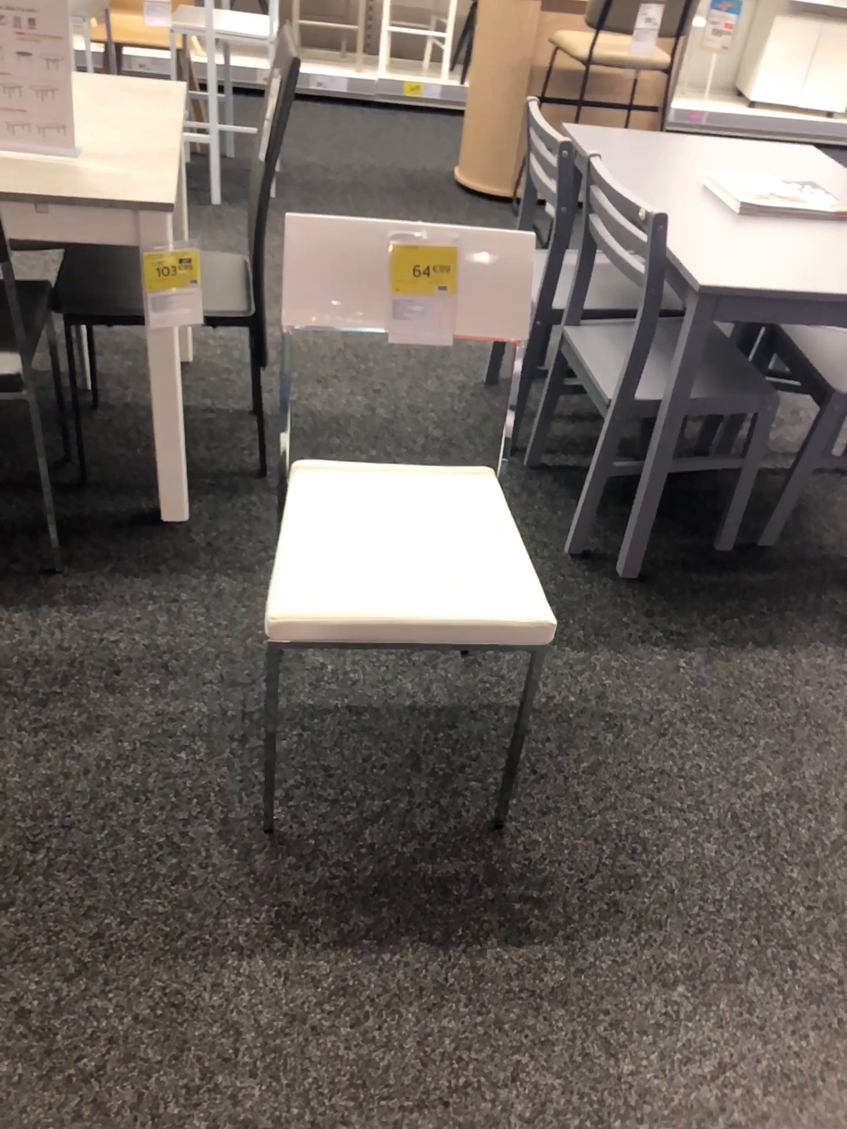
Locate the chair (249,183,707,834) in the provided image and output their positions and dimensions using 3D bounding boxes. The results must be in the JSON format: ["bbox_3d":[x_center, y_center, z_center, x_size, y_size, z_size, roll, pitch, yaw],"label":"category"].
[{"bbox_3d":[-0.014,-0.068,1.448,0.501,0.815,0.543,0,39,-10],"label":"chair"}]
